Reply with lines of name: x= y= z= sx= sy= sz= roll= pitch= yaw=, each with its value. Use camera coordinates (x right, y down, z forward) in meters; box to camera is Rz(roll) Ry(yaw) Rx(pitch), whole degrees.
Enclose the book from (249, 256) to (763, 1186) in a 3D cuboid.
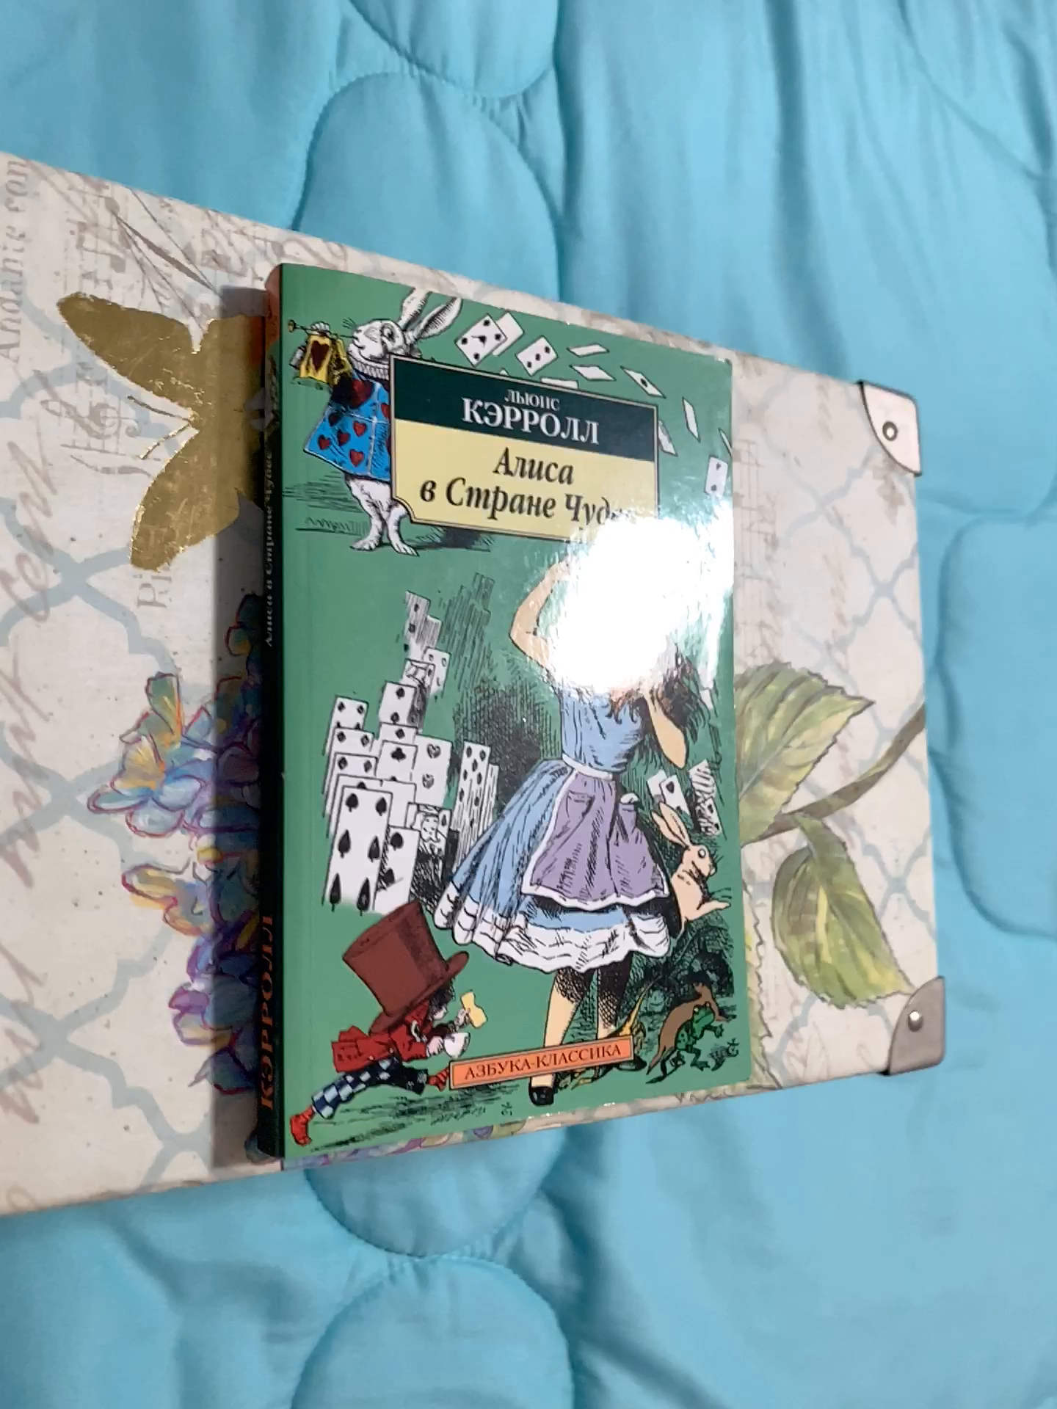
book: x=-0.002 y=0.002 z=0.249 sx=0.119 sy=0.018 sz=0.179 roll=2 pitch=84 yaw=-31
